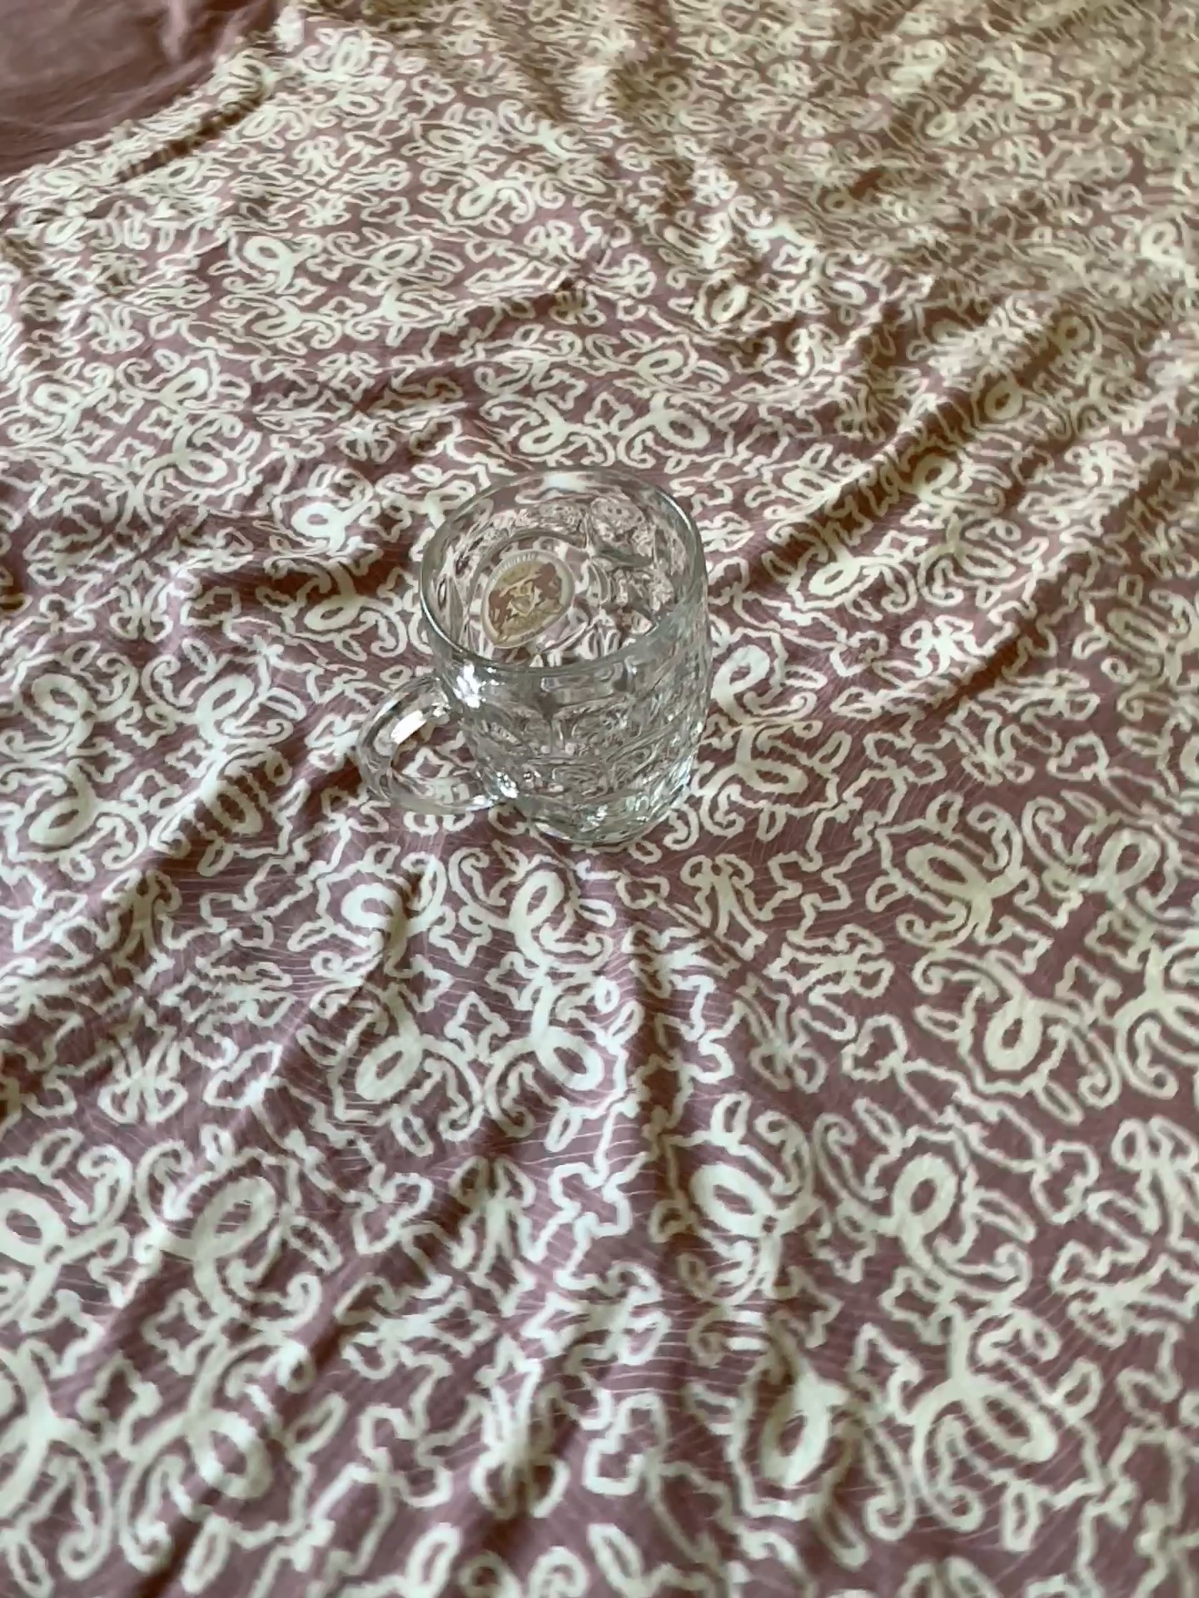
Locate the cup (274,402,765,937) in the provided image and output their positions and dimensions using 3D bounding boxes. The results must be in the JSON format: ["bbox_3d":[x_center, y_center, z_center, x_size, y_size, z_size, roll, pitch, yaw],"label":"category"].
[{"bbox_3d":[-0.022,-0.043,0.408,0.120,0.109,0.091,-24,53,-14],"label":"cup"}]
